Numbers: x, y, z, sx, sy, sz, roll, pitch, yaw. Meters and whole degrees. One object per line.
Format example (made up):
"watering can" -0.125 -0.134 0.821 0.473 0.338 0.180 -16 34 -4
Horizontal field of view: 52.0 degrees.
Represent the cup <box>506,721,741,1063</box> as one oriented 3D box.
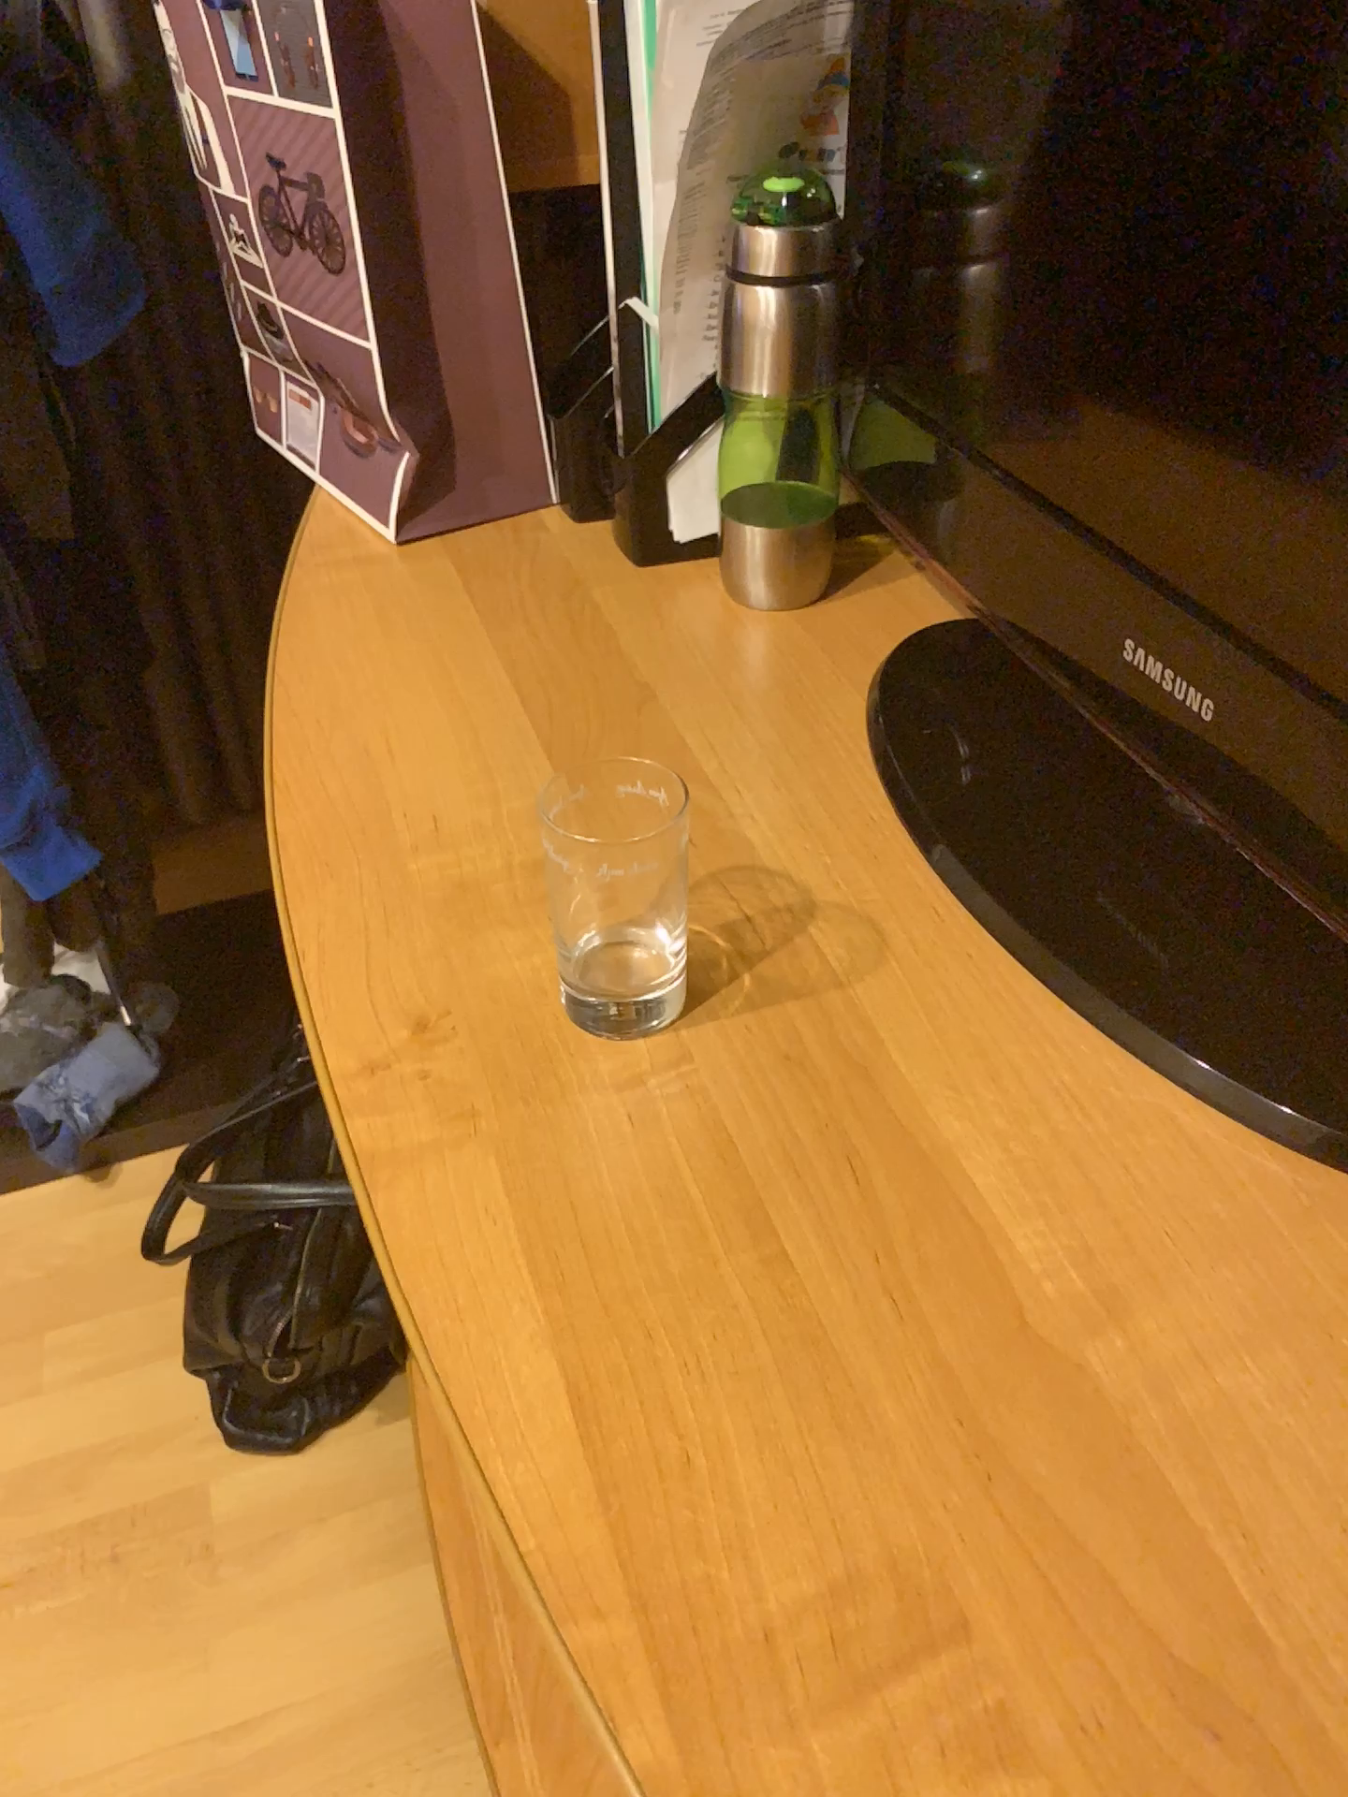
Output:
"cup" -0.016 -0.003 0.523 0.060 0.099 0.060 -1 37 1
